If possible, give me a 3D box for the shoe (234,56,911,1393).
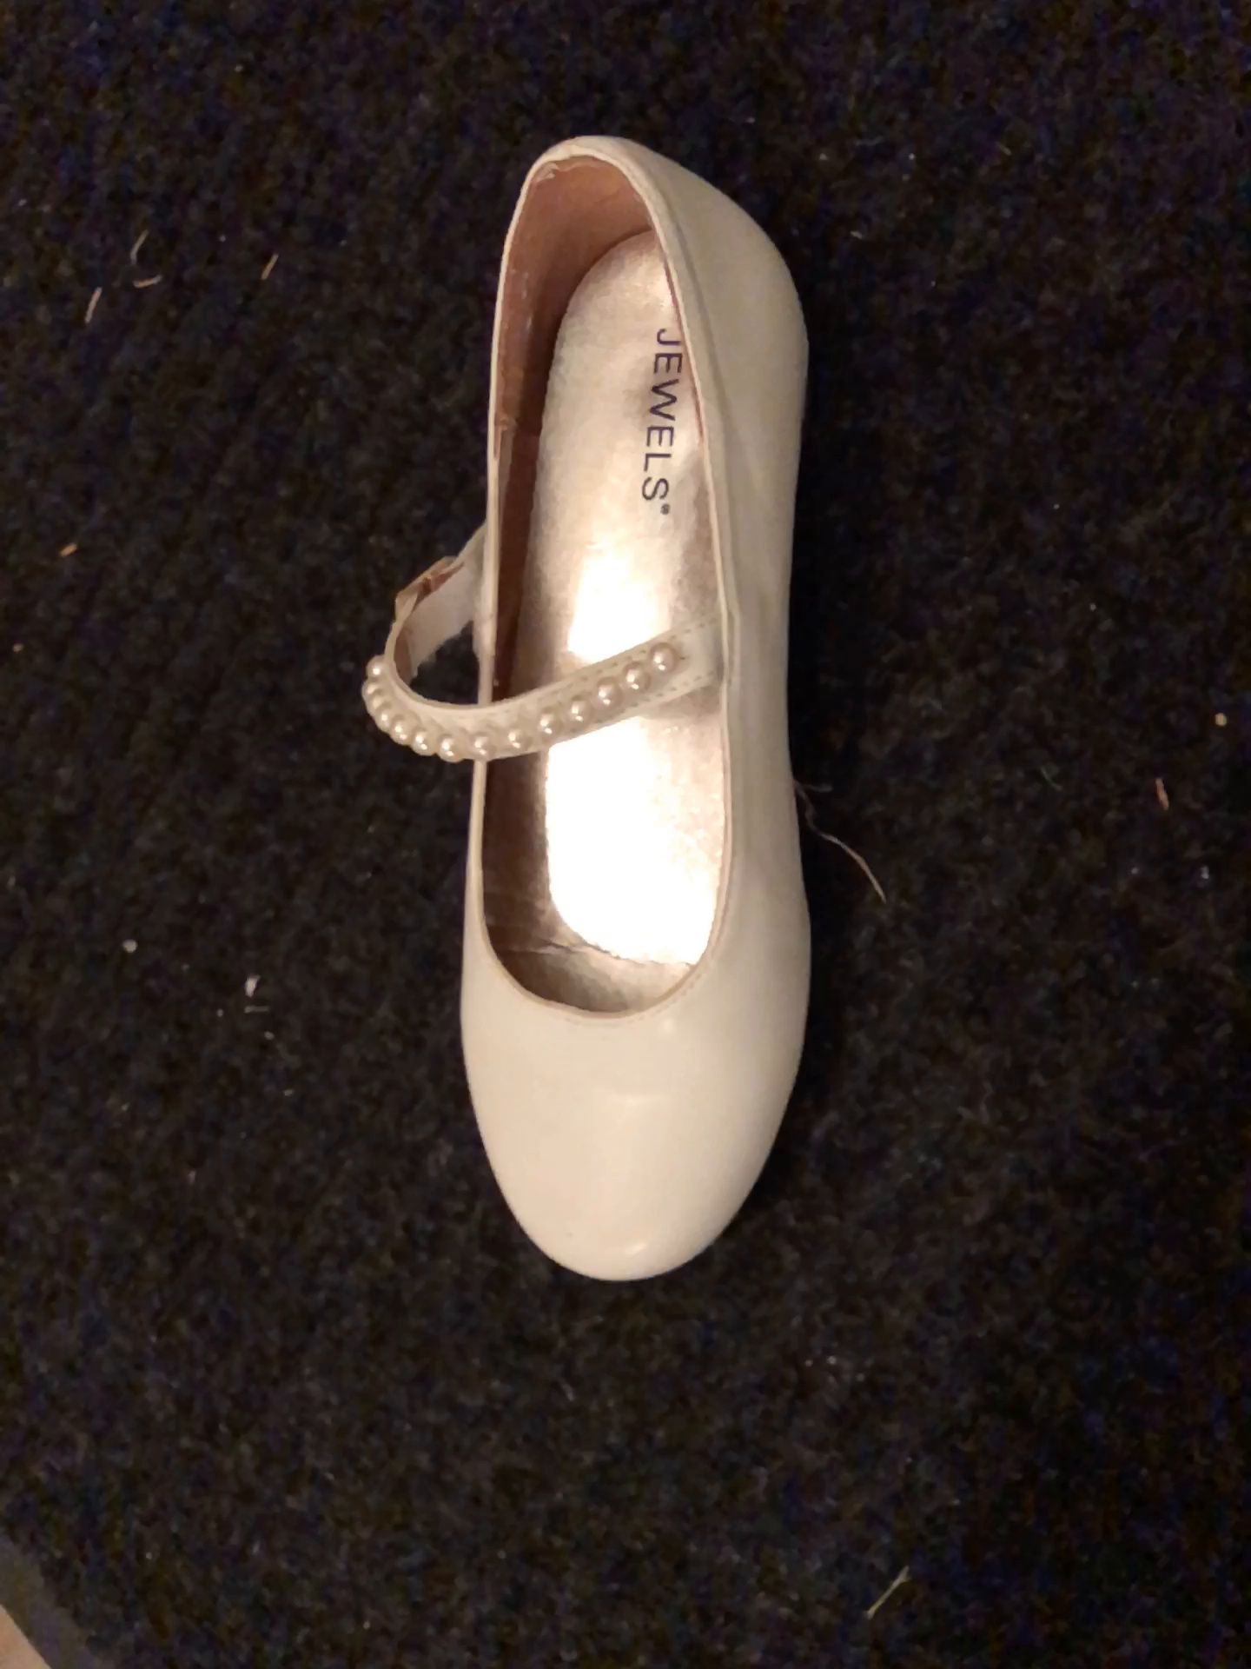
[{"bbox_3d":[-0.005,-0.018,0.262,0.080,0.080,0.200,5,89,25],"label":"shoe"}]
